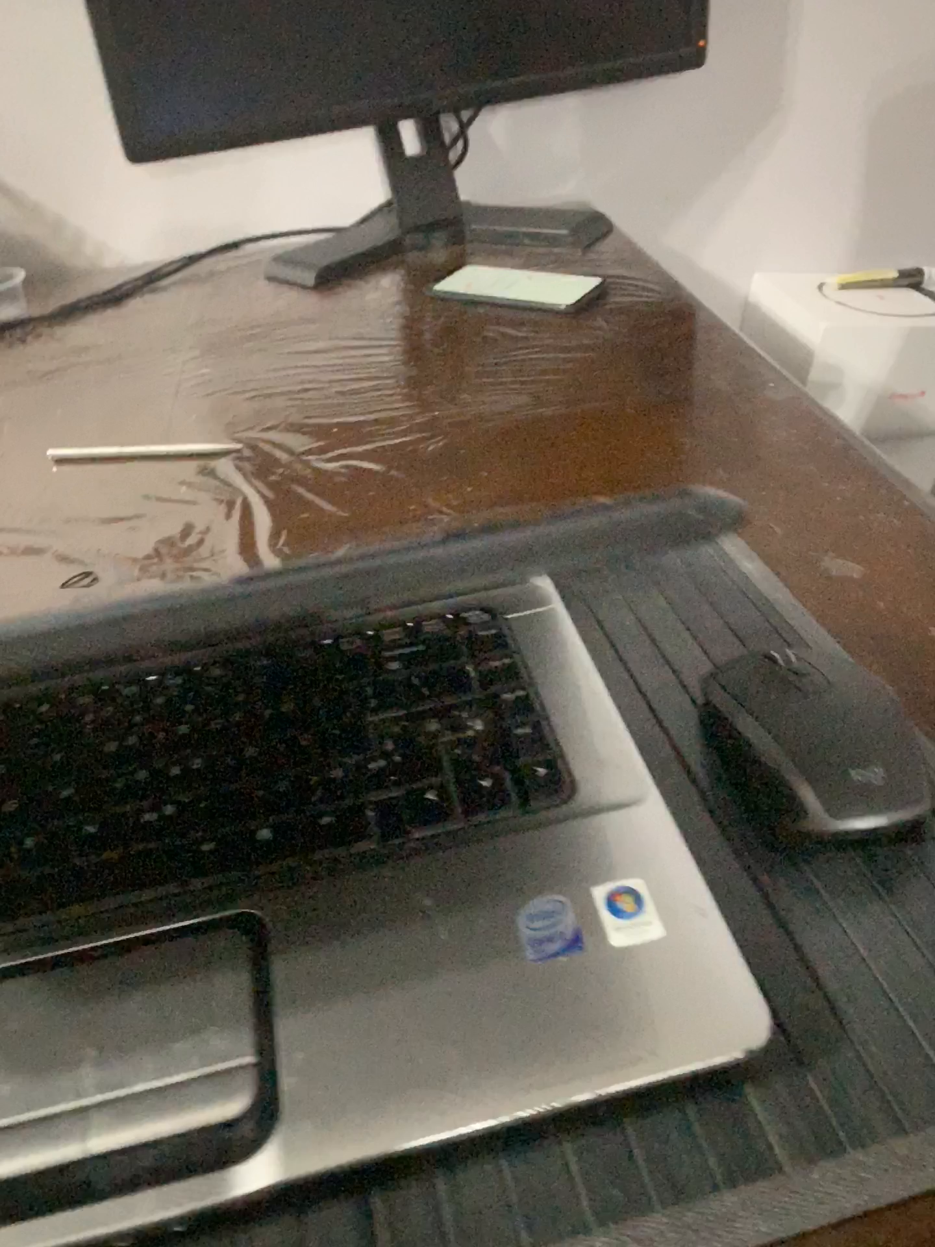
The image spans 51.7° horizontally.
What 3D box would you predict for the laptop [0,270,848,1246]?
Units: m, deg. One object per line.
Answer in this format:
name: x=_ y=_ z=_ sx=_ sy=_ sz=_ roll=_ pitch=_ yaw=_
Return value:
laptop: x=-0.115 y=0.018 z=0.279 sx=0.342 sy=0.108 sz=0.245 roll=-12 pitch=40 yaw=-9
